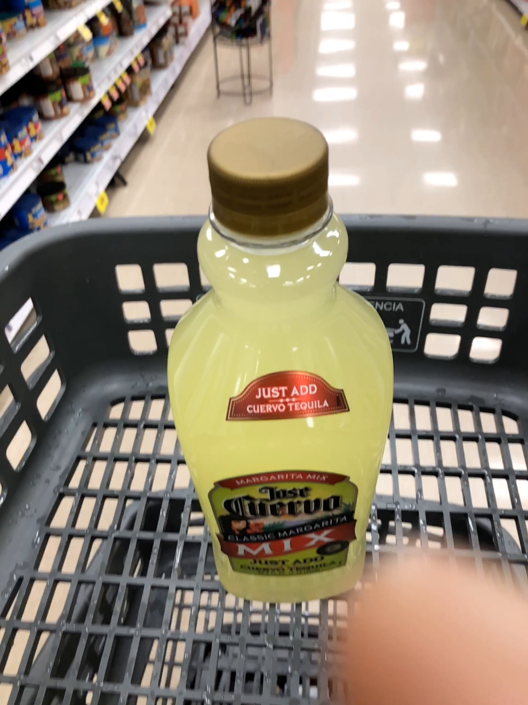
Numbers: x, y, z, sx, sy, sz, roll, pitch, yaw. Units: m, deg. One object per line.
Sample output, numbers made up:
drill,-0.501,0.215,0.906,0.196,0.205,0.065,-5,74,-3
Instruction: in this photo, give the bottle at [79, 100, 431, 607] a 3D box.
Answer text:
bottle,0.003,0.029,0.307,0.110,0.280,0.080,-2,42,1
